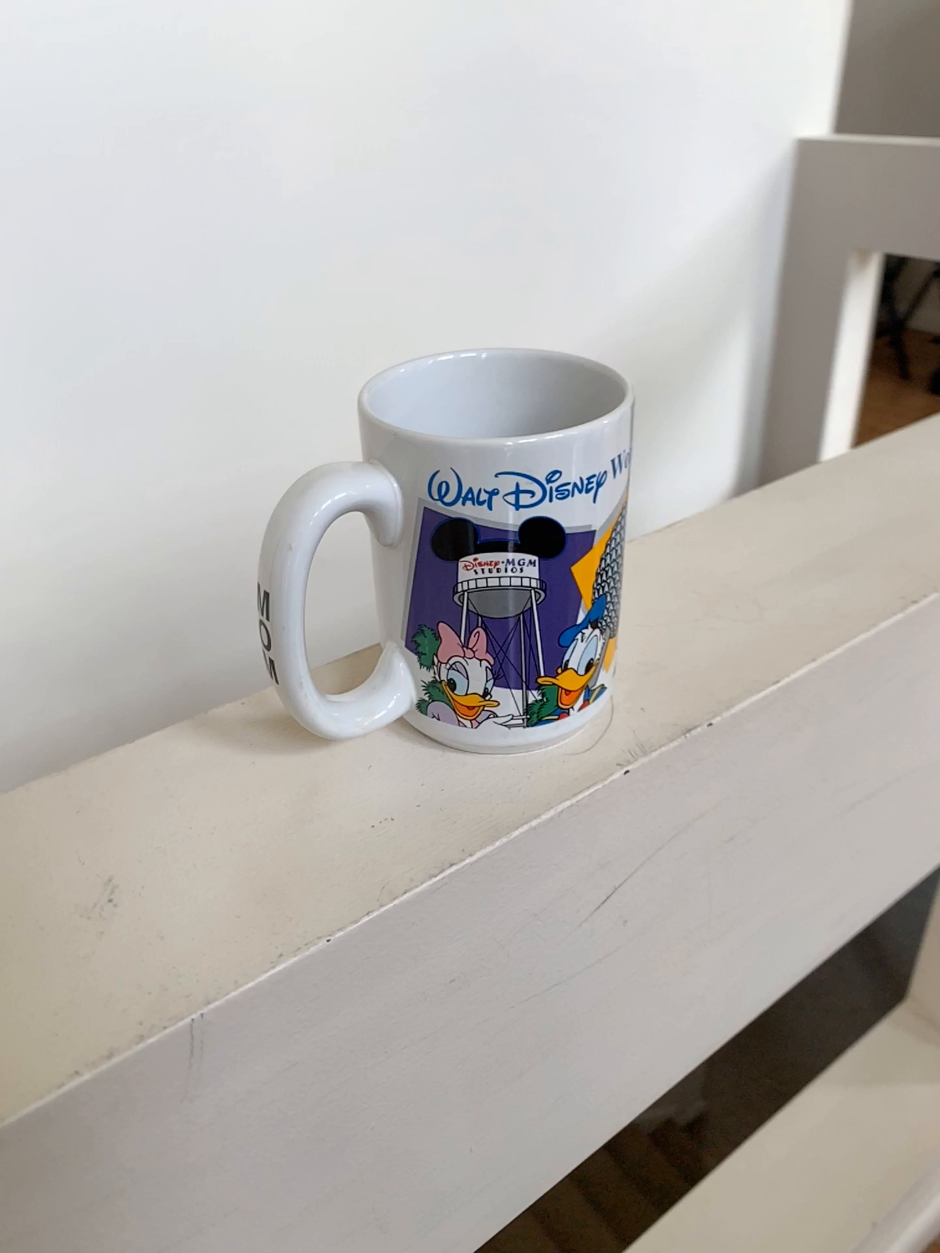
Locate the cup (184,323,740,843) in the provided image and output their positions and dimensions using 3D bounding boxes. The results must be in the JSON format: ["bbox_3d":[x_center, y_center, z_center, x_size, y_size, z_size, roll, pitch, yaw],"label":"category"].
[{"bbox_3d":[-0.001,-0.022,0.310,0.140,0.109,0.080,-18,34,-25],"label":"cup"}]
